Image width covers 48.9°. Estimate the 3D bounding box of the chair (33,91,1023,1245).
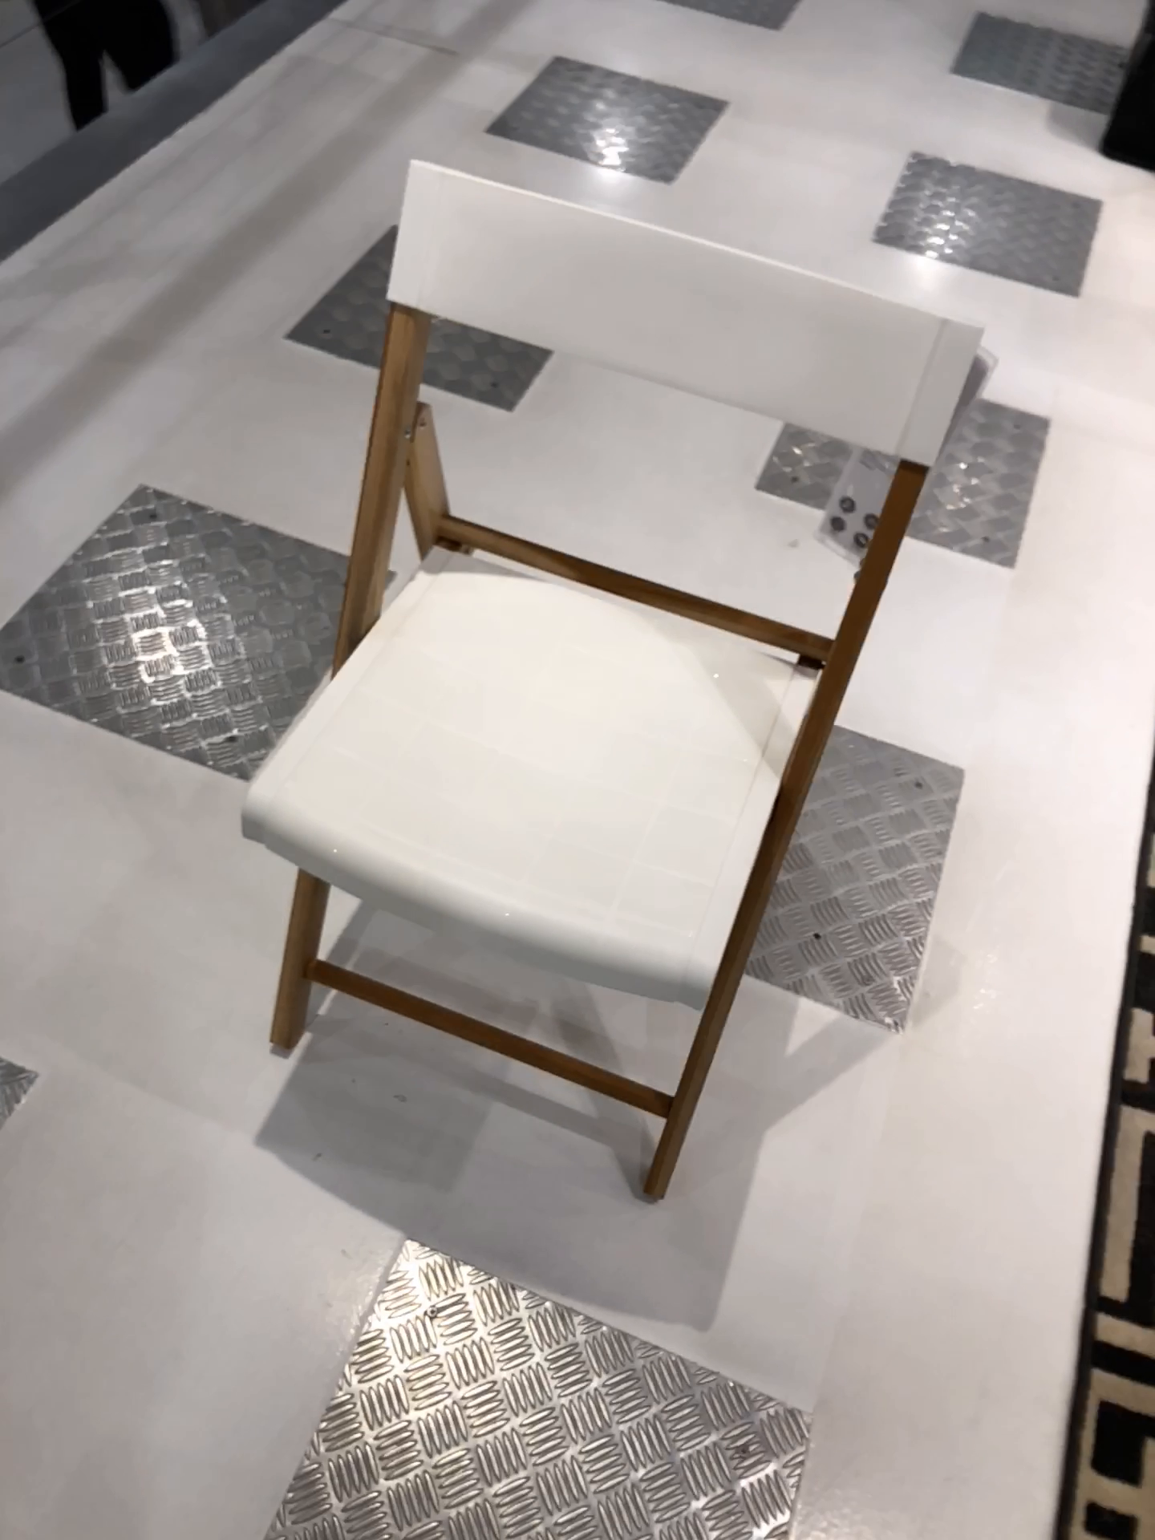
[{"bbox_3d":[-0.010,-0.055,1.095,0.470,0.706,0.553,19,52,9],"label":"chair"}]
